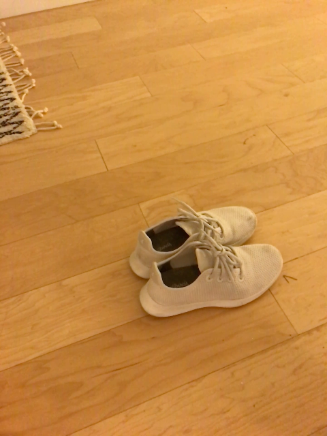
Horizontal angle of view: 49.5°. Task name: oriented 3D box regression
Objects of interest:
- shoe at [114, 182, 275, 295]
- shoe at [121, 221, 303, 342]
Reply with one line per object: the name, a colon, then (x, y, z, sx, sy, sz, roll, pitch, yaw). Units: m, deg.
shoe: (0.057, 0.034, 0.680, 0.270, 0.070, 0.121, -18, 52, -11)
shoe: (0.079, 0.107, 0.623, 0.280, 0.070, 0.121, -14, 52, -8)
